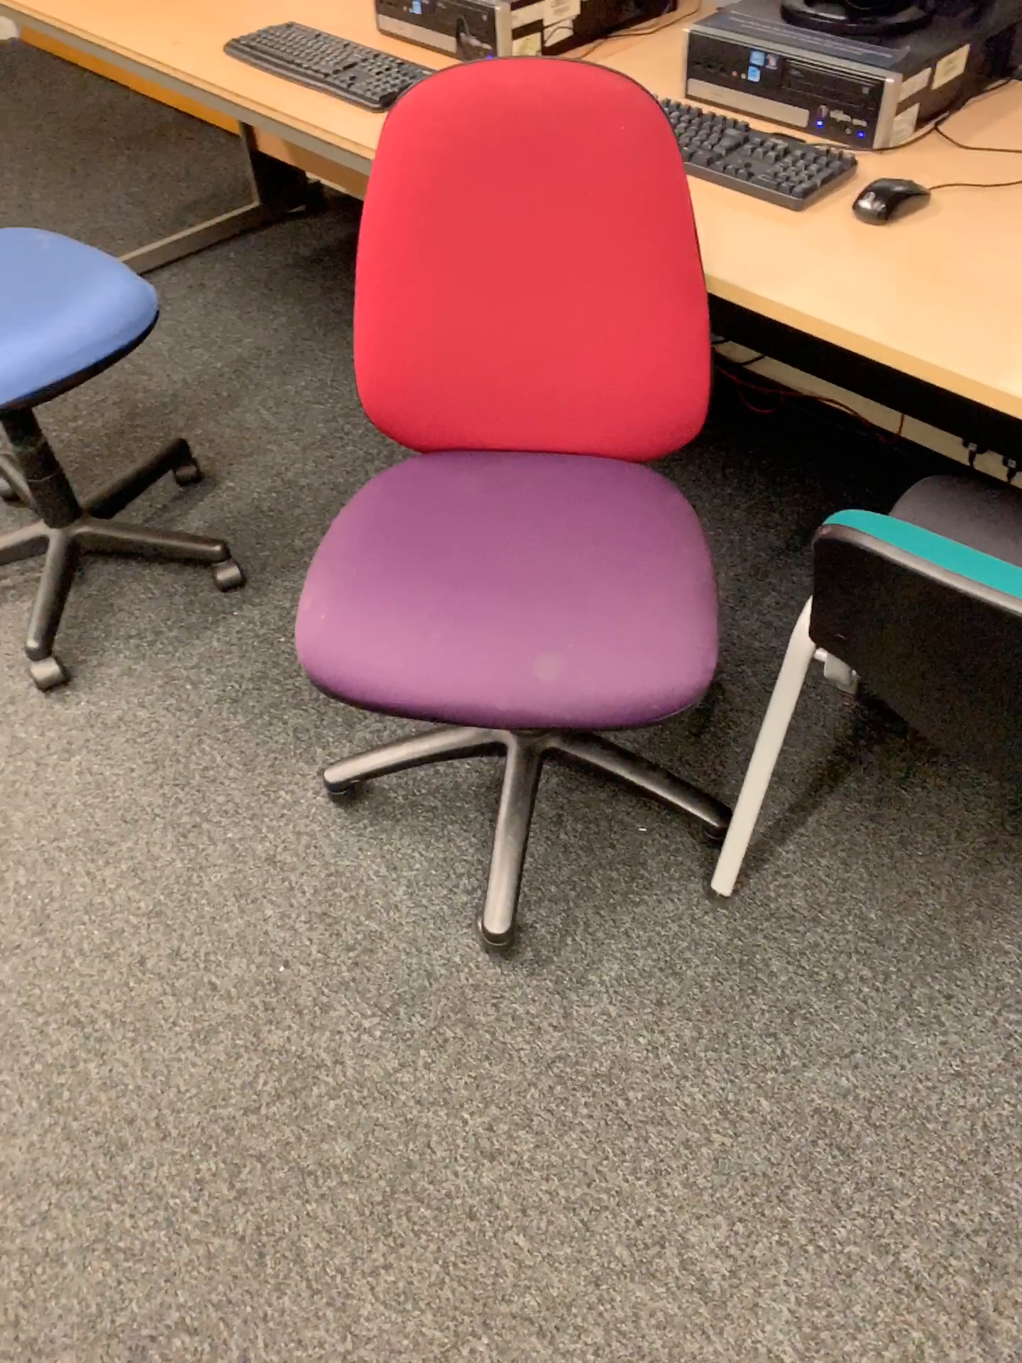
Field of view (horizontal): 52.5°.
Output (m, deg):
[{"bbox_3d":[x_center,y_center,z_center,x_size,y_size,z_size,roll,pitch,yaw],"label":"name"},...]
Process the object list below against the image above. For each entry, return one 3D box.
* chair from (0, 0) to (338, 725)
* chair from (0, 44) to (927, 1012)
[{"bbox_3d":[-0.759,-0.528,1.578,0.601,0.829,0.606,32,56,29],"label":"chair"},{"bbox_3d":[0.012,-0.150,1.203,0.653,0.869,0.603,7,48,10],"label":"chair"}]
